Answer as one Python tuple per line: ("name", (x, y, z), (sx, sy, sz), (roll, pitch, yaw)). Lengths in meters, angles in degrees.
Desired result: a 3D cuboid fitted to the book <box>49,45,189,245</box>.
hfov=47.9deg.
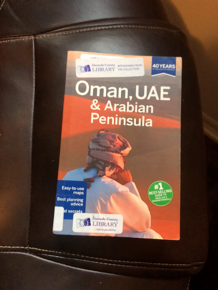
("book", (0.014, -0.001, 0.269), (0.137, 0.030, 0.203), (3, 83, -3))
